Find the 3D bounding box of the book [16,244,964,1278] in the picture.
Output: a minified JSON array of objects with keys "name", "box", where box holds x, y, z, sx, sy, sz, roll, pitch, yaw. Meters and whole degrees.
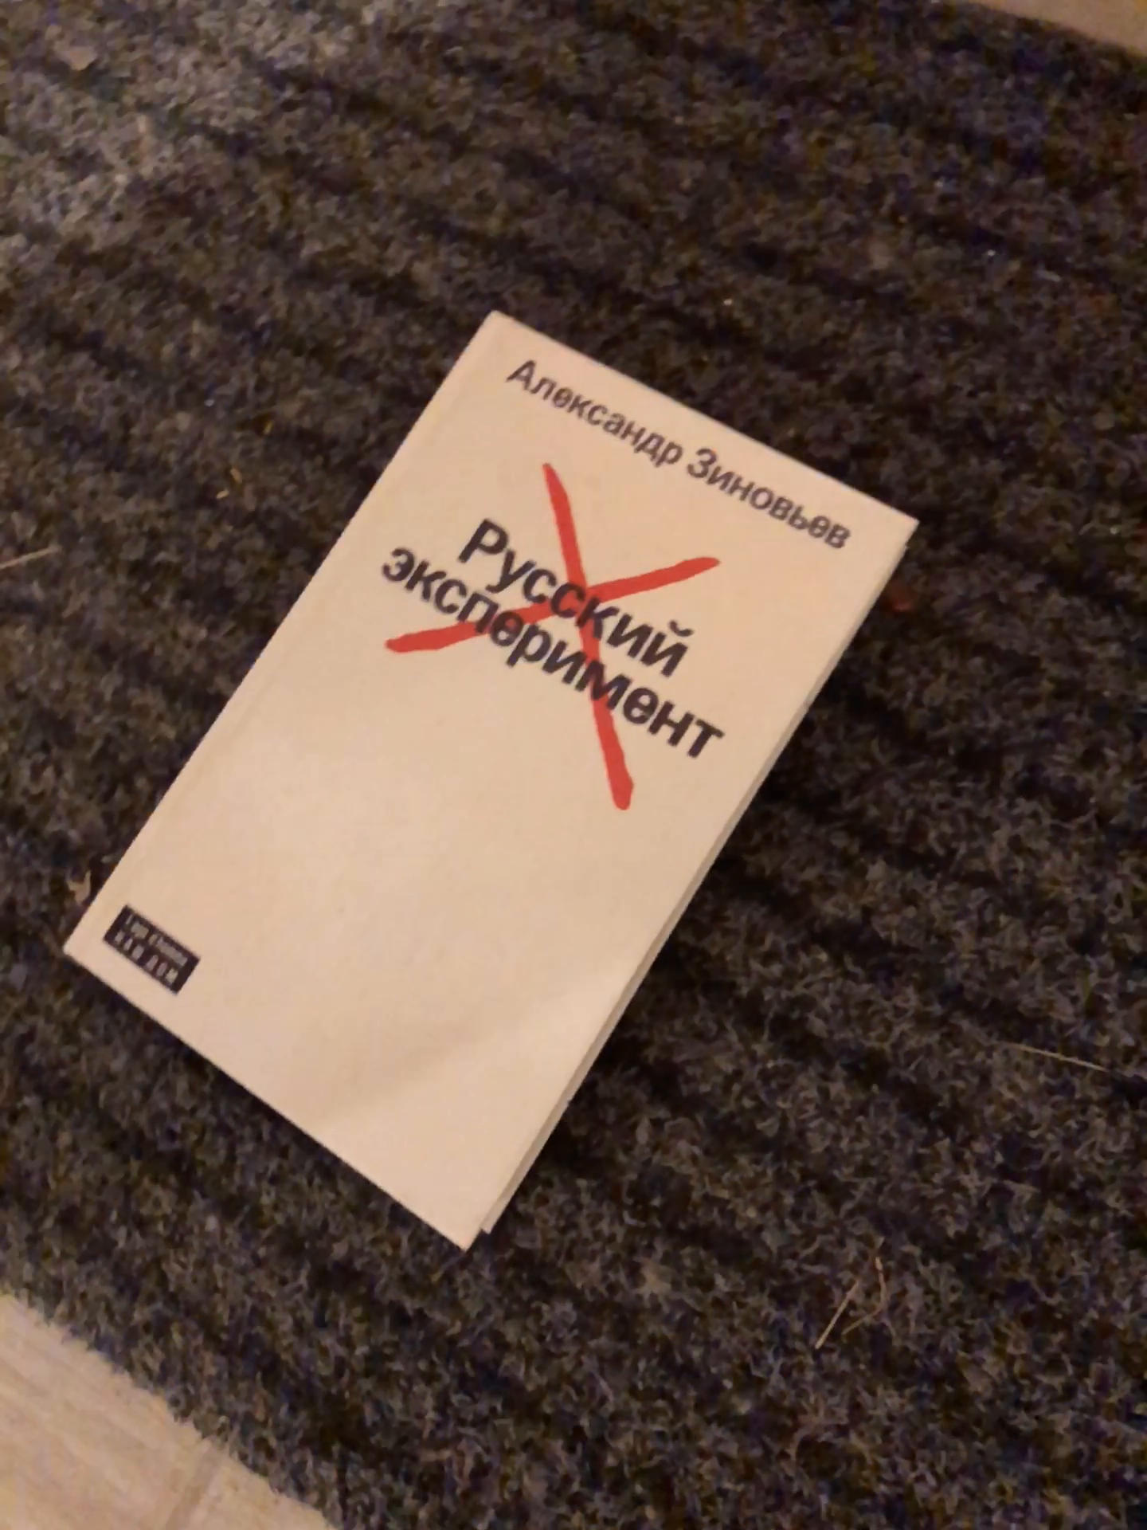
[{"name":"book","box":[-0.017,-0.007,0.287,0.120,0.040,0.190,31,84,17]}]
